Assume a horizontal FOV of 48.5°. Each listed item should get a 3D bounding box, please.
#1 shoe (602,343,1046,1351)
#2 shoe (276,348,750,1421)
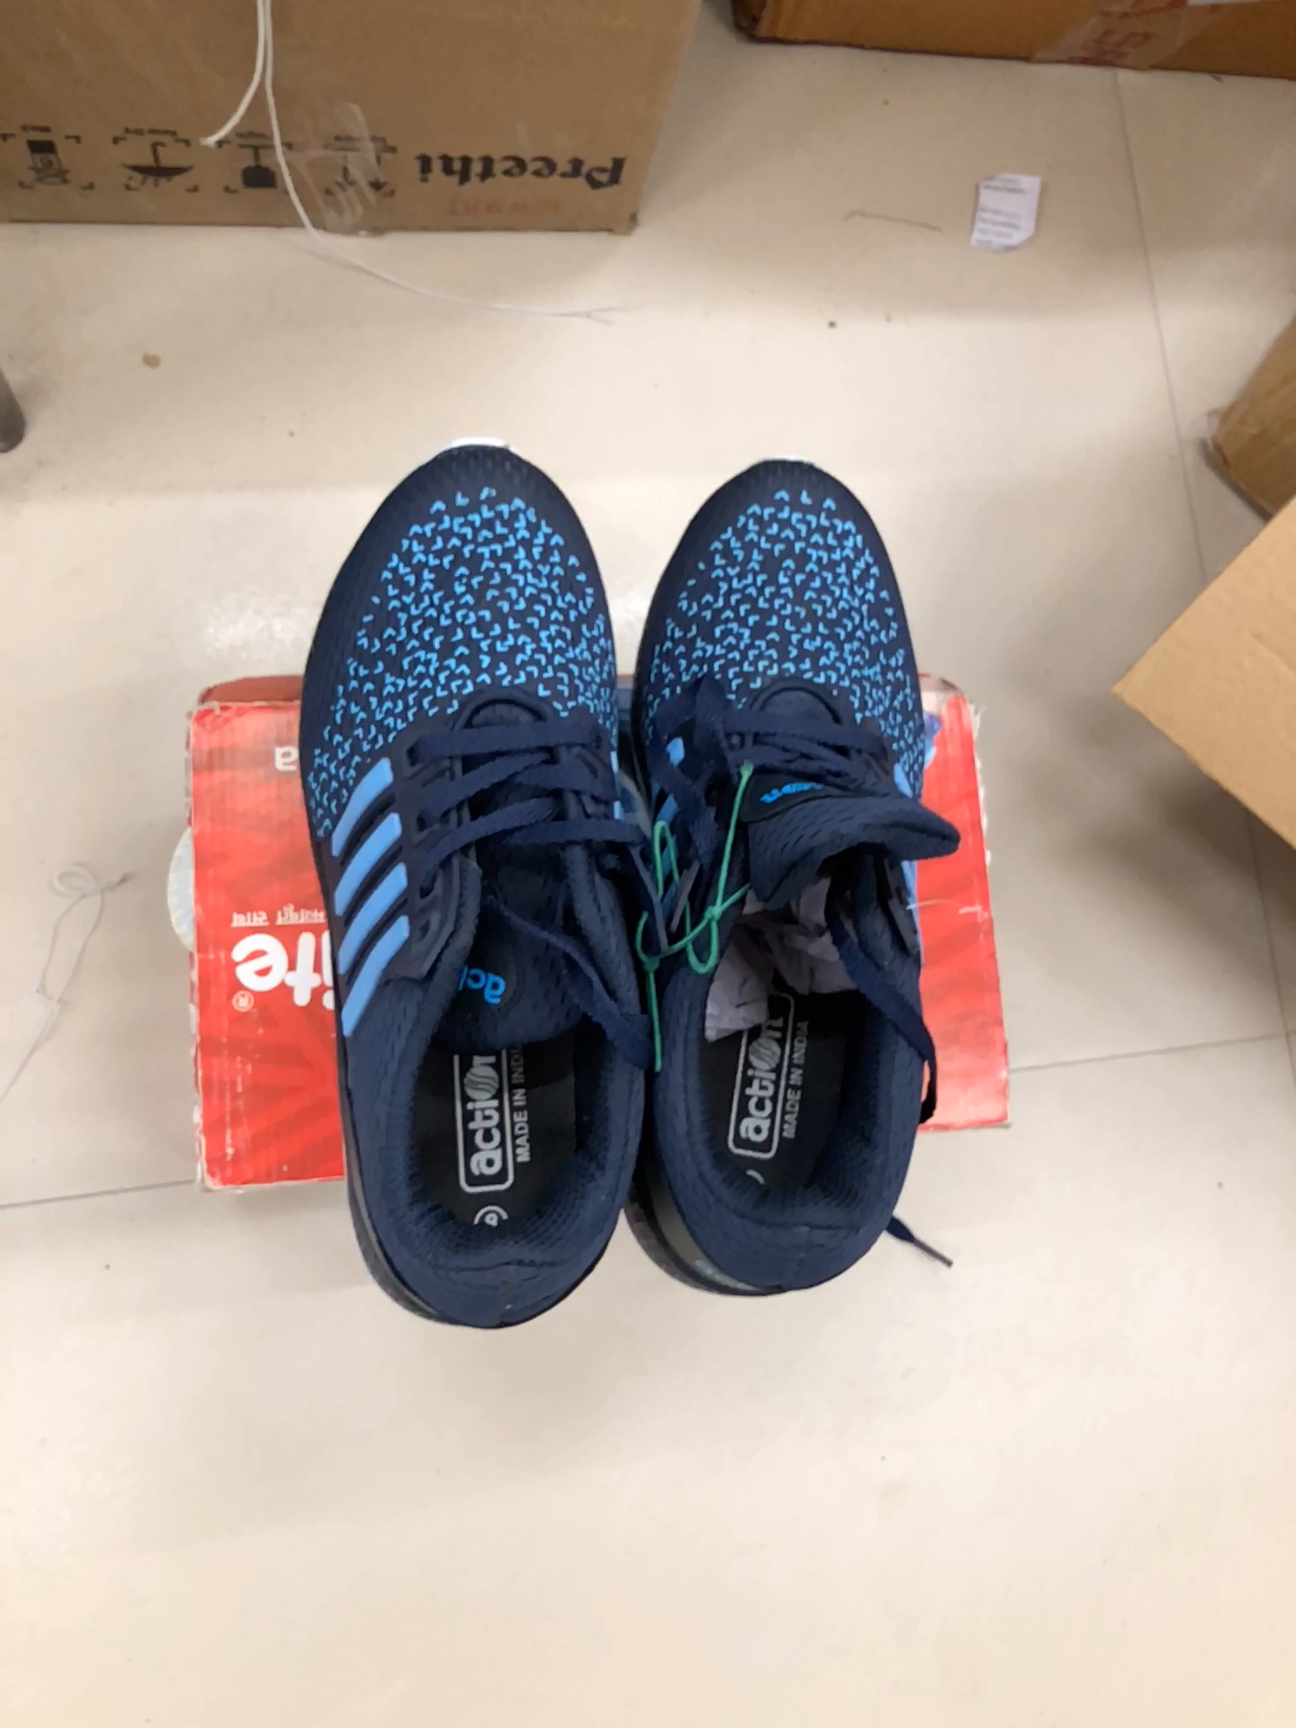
[{"bbox_3d":[0.047,0.001,0.442,0.093,0.133,0.263,4,80,-11],"label":"shoe"},{"bbox_3d":[-0.048,0.005,0.423,0.101,0.133,0.263,-3,82,-12],"label":"shoe"}]
